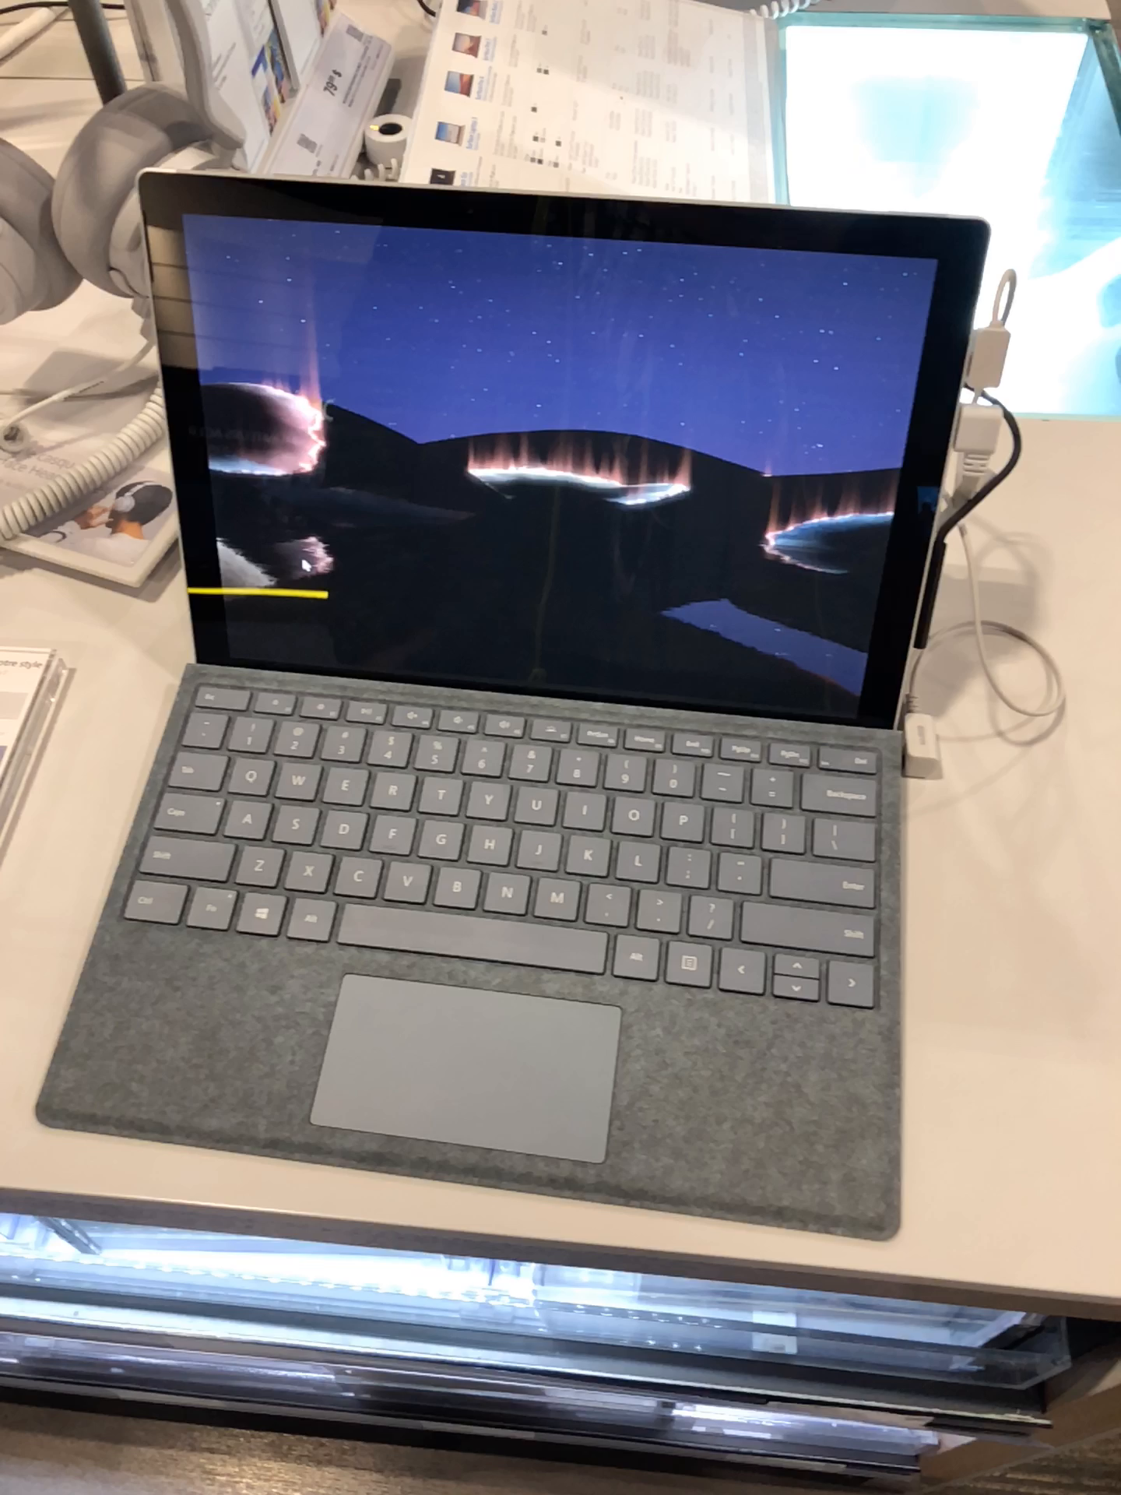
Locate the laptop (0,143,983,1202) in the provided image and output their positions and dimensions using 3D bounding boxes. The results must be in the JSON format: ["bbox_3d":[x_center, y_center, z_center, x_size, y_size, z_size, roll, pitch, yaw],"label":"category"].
[{"bbox_3d":[-0.021,-0.032,0.404,0.261,0.143,0.284,6,61,10],"label":"laptop"}]
